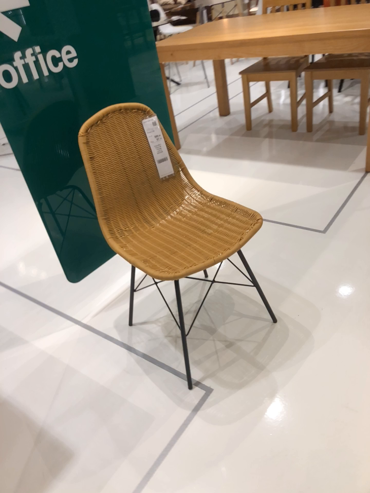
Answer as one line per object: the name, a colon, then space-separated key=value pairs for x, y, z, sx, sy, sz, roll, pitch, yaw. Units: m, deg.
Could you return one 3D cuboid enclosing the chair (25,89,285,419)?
chair: x=-0.059 y=-0.004 z=1.406 sx=0.491 sy=0.863 sz=0.573 roll=-30 pitch=38 yaw=-26
